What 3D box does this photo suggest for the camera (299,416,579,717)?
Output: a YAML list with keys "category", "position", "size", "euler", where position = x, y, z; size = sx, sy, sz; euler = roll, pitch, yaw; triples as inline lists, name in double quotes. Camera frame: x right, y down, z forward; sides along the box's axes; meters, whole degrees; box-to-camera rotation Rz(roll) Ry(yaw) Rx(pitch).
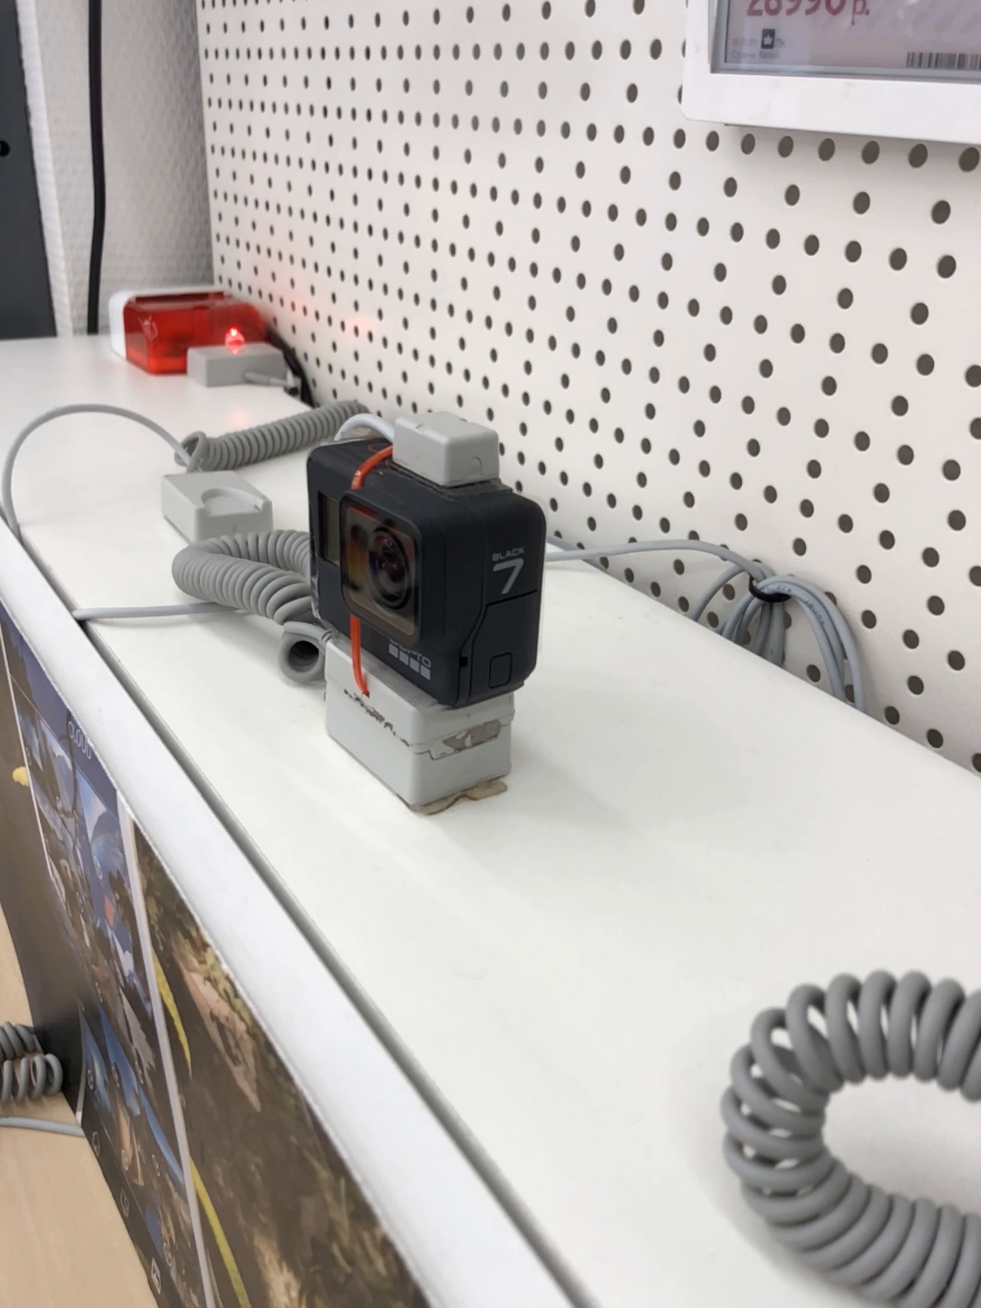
- category: "camera"
  position: [-0.014, -0.023, 0.246]
  size: [0.029, 0.044, 0.067]
  euler: [-16, 32, -33]
